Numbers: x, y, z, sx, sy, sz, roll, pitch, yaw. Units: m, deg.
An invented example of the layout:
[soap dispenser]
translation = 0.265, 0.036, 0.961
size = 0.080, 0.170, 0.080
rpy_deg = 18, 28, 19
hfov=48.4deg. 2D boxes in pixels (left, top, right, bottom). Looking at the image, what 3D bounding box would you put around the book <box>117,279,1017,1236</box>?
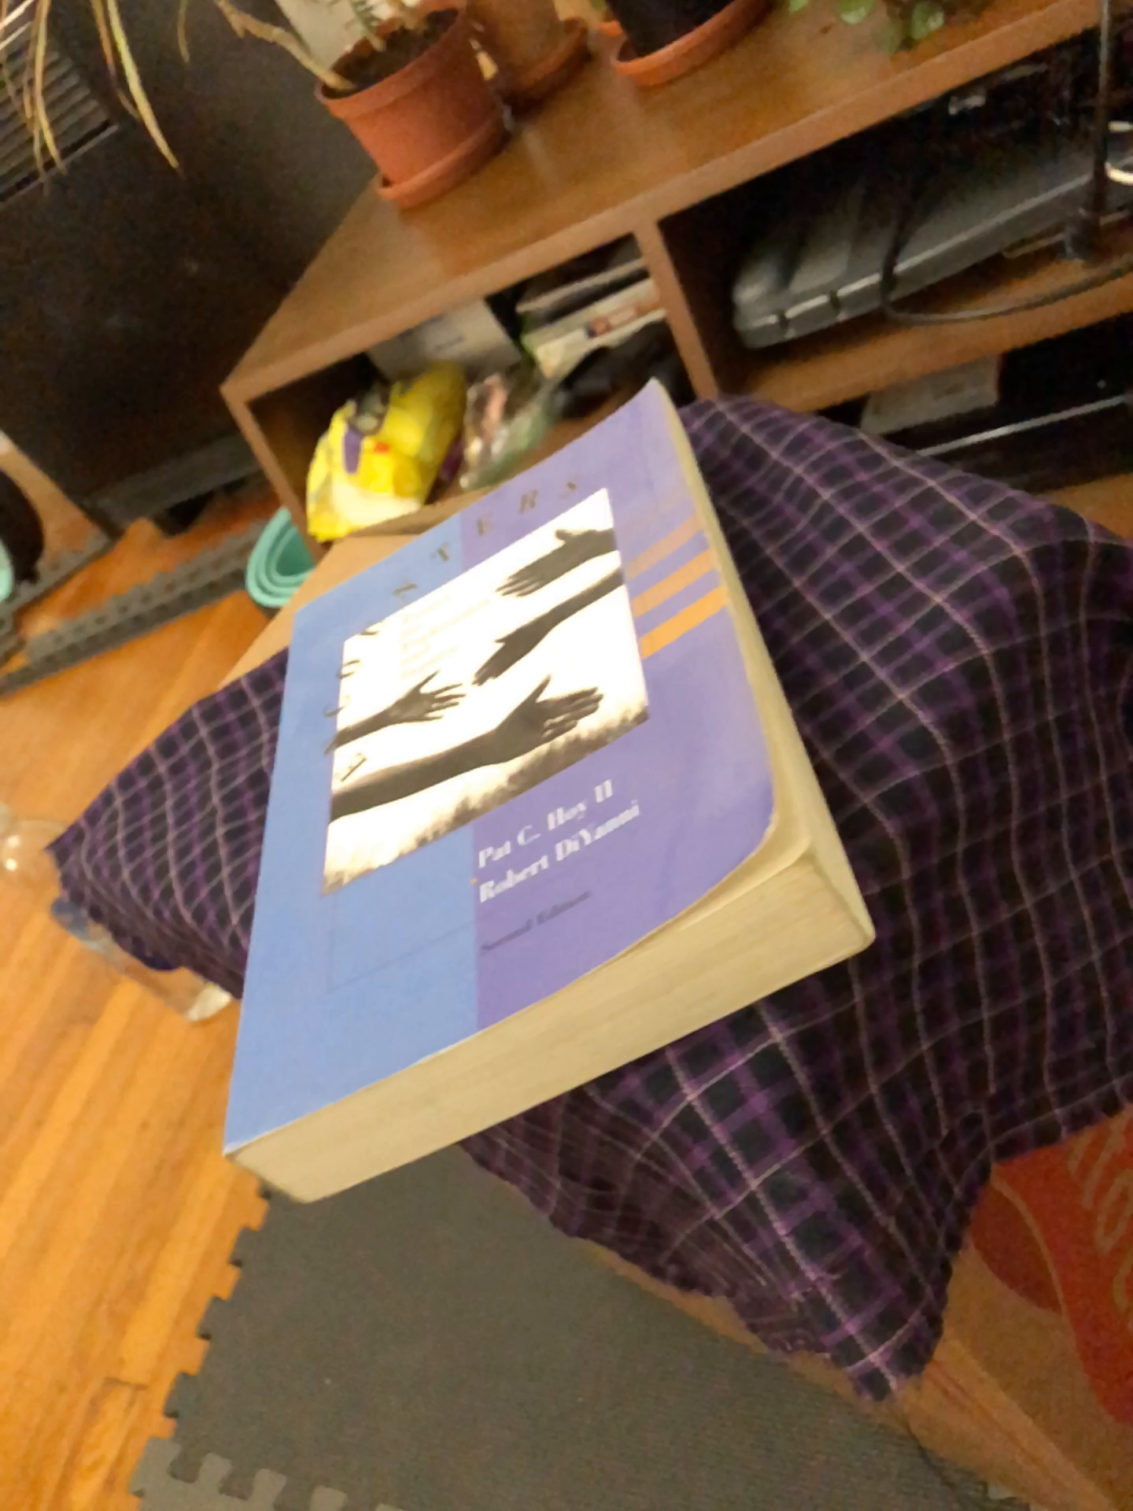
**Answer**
[book]
translation = -0.017, -0.023, 0.369
size = 0.200, 0.040, 0.261
rpy_deg = -28, 37, 16
